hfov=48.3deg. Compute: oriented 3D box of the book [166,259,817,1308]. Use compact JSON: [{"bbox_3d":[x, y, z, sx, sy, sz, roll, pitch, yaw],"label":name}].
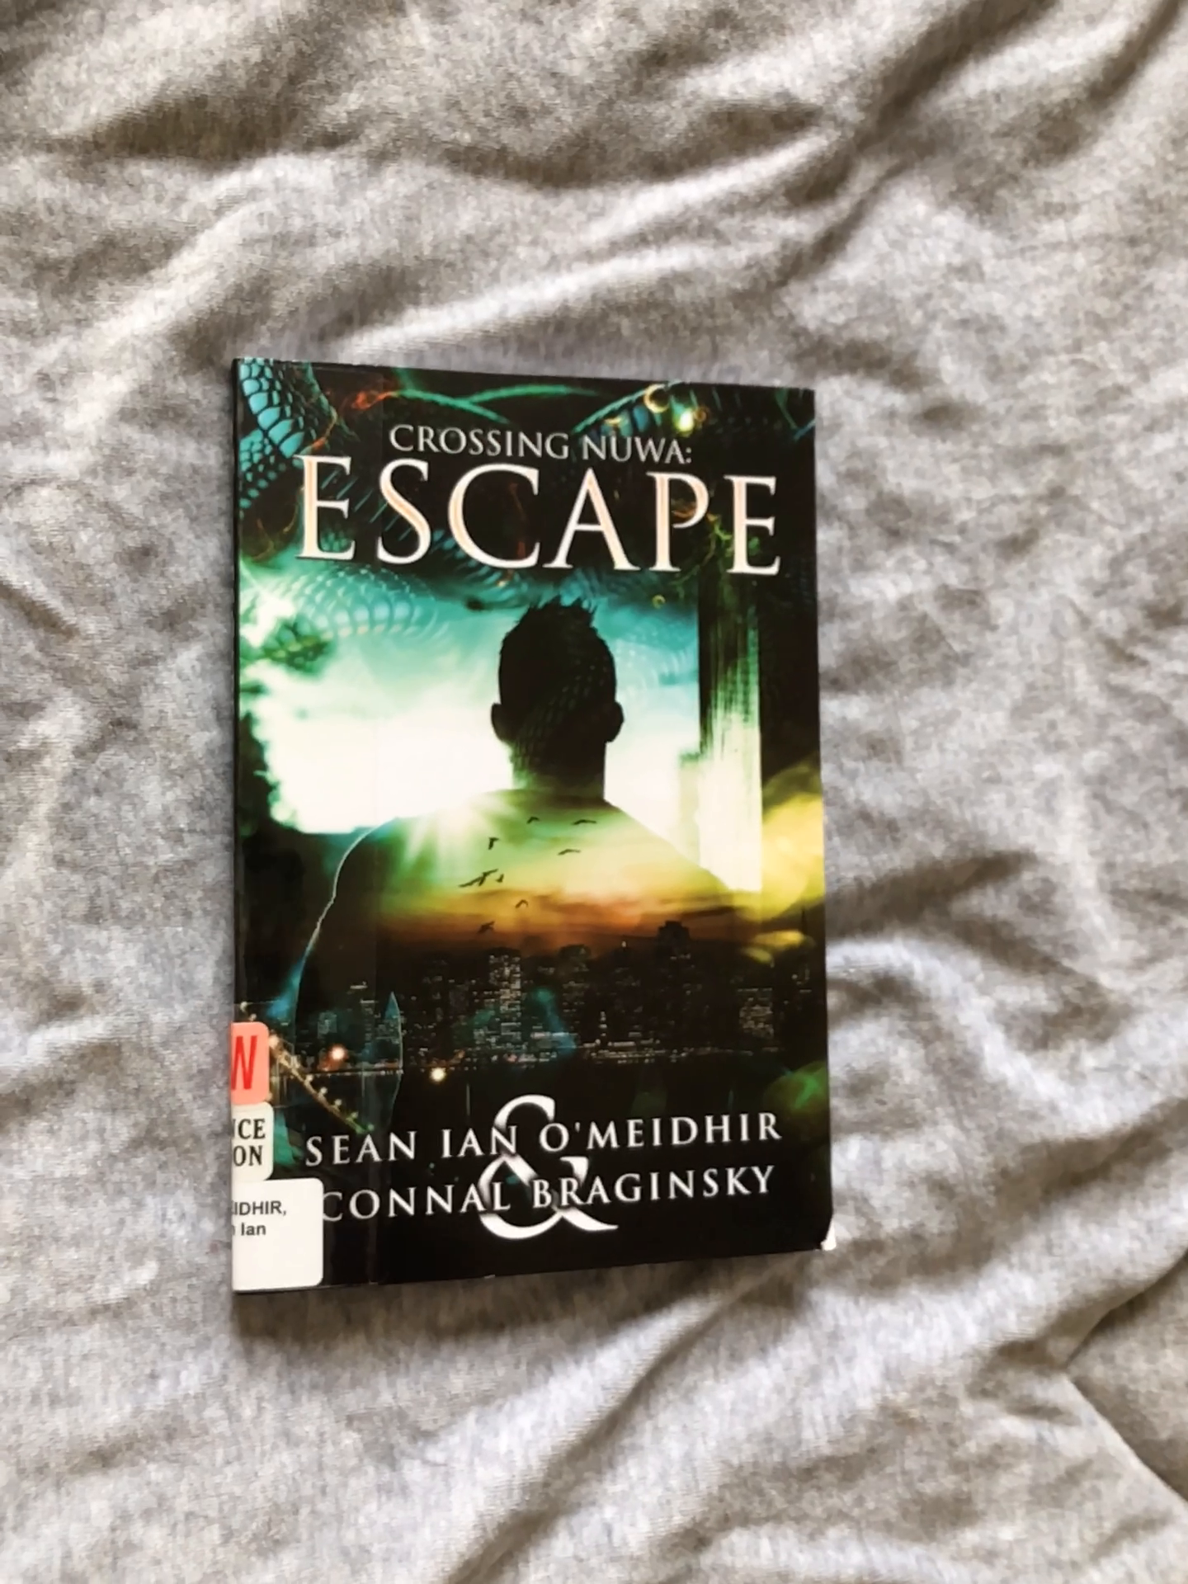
[{"bbox_3d":[-0.026,-0.004,0.346,0.160,0.030,0.250,0,87,-12],"label":"book"}]
